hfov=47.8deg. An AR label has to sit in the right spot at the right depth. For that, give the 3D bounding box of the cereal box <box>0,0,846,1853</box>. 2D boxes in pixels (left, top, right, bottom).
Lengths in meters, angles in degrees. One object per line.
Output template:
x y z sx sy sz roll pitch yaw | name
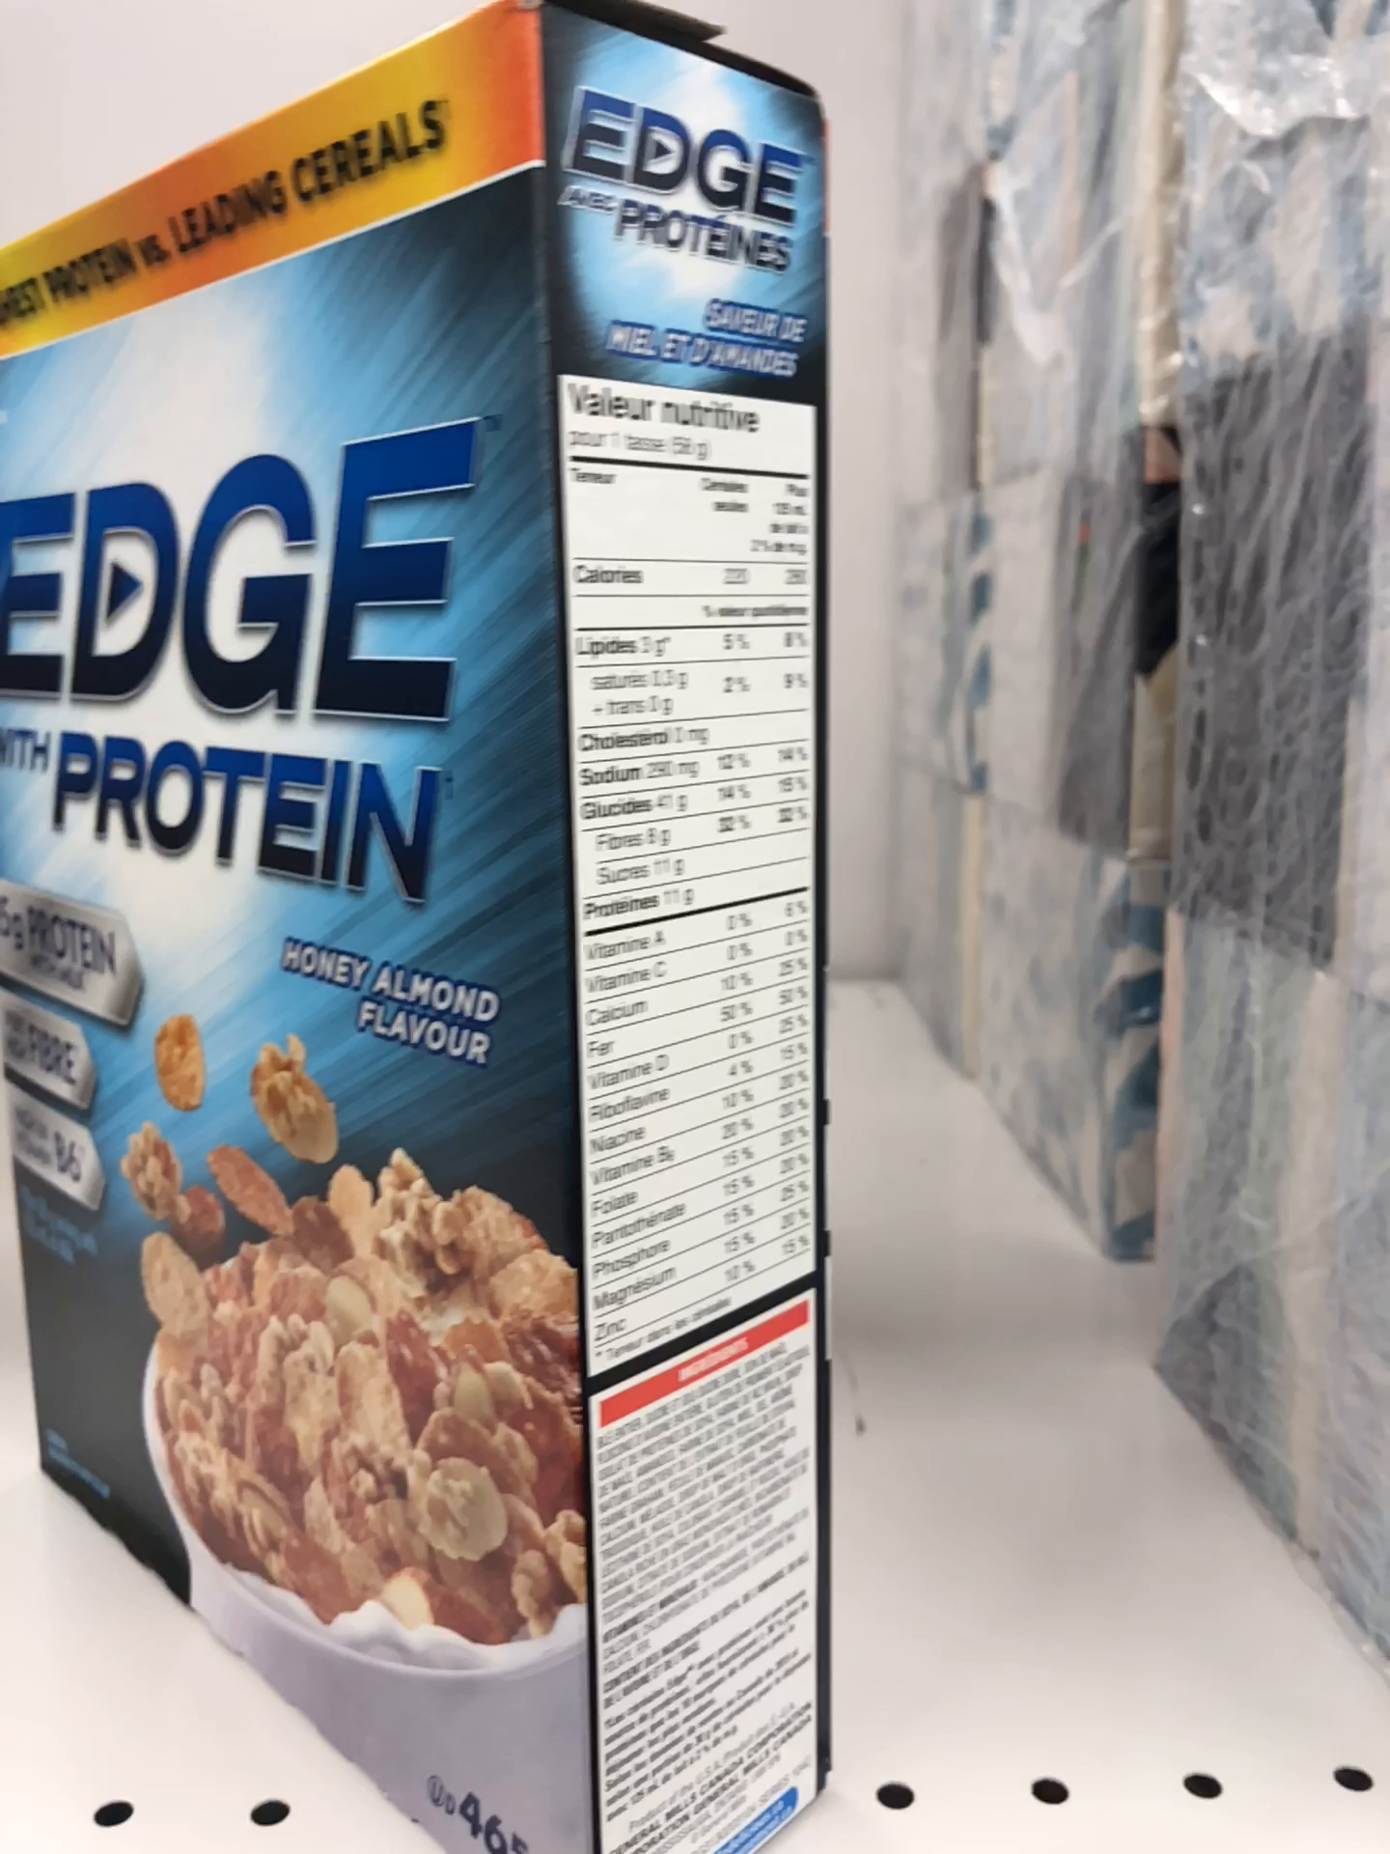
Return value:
-0.066 0.010 0.291 0.050 0.279 0.200 -11 14 -43 | cereal box
